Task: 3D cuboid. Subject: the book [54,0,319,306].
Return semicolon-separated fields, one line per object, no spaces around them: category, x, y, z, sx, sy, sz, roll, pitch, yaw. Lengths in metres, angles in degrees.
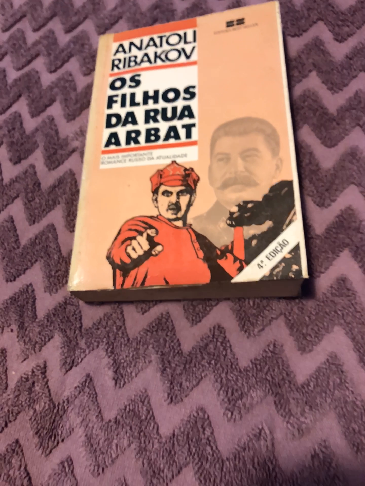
book;0.001;-0.061;0.264;0.140;0.040;0.190;-4;70;11
